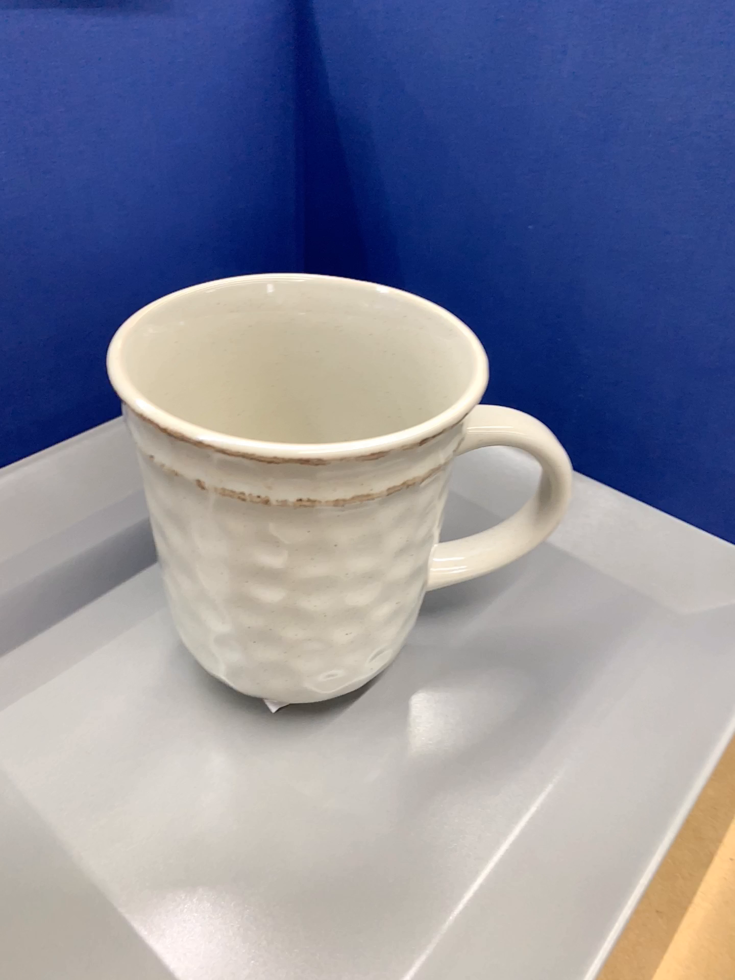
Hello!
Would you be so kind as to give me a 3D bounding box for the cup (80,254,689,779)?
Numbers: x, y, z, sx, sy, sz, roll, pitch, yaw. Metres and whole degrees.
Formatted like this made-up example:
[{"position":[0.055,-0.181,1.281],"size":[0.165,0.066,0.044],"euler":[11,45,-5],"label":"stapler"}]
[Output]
[{"position":[-0.004,-0.005,0.217],"size":[0.123,0.082,0.101],"euler":[-12,38,-21],"label":"cup"}]
